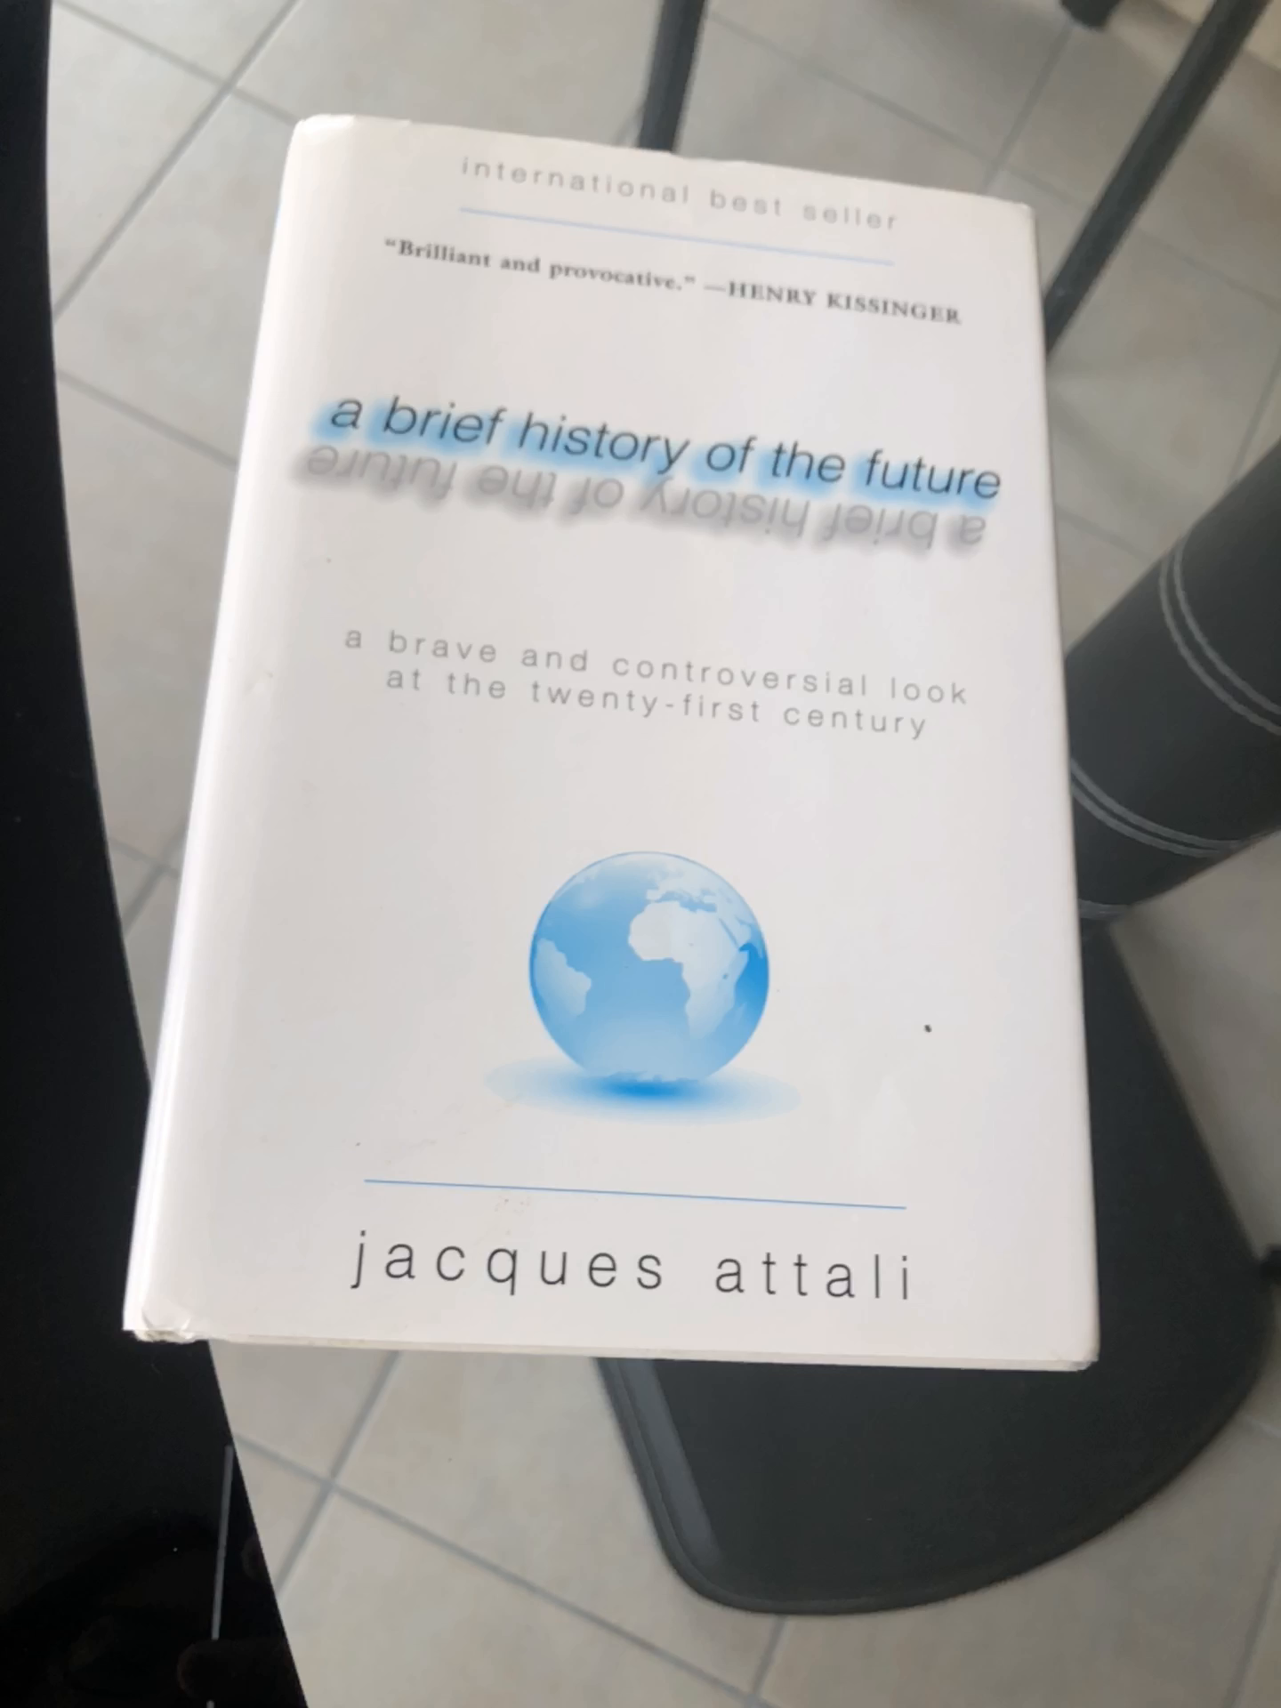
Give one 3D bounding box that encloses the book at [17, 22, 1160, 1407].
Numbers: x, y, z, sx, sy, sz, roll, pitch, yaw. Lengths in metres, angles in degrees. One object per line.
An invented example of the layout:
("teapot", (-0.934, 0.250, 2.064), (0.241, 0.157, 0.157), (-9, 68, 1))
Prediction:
("book", (0.000, -0.026, 0.236), (0.150, 0.040, 0.210), (5, 73, -7))
